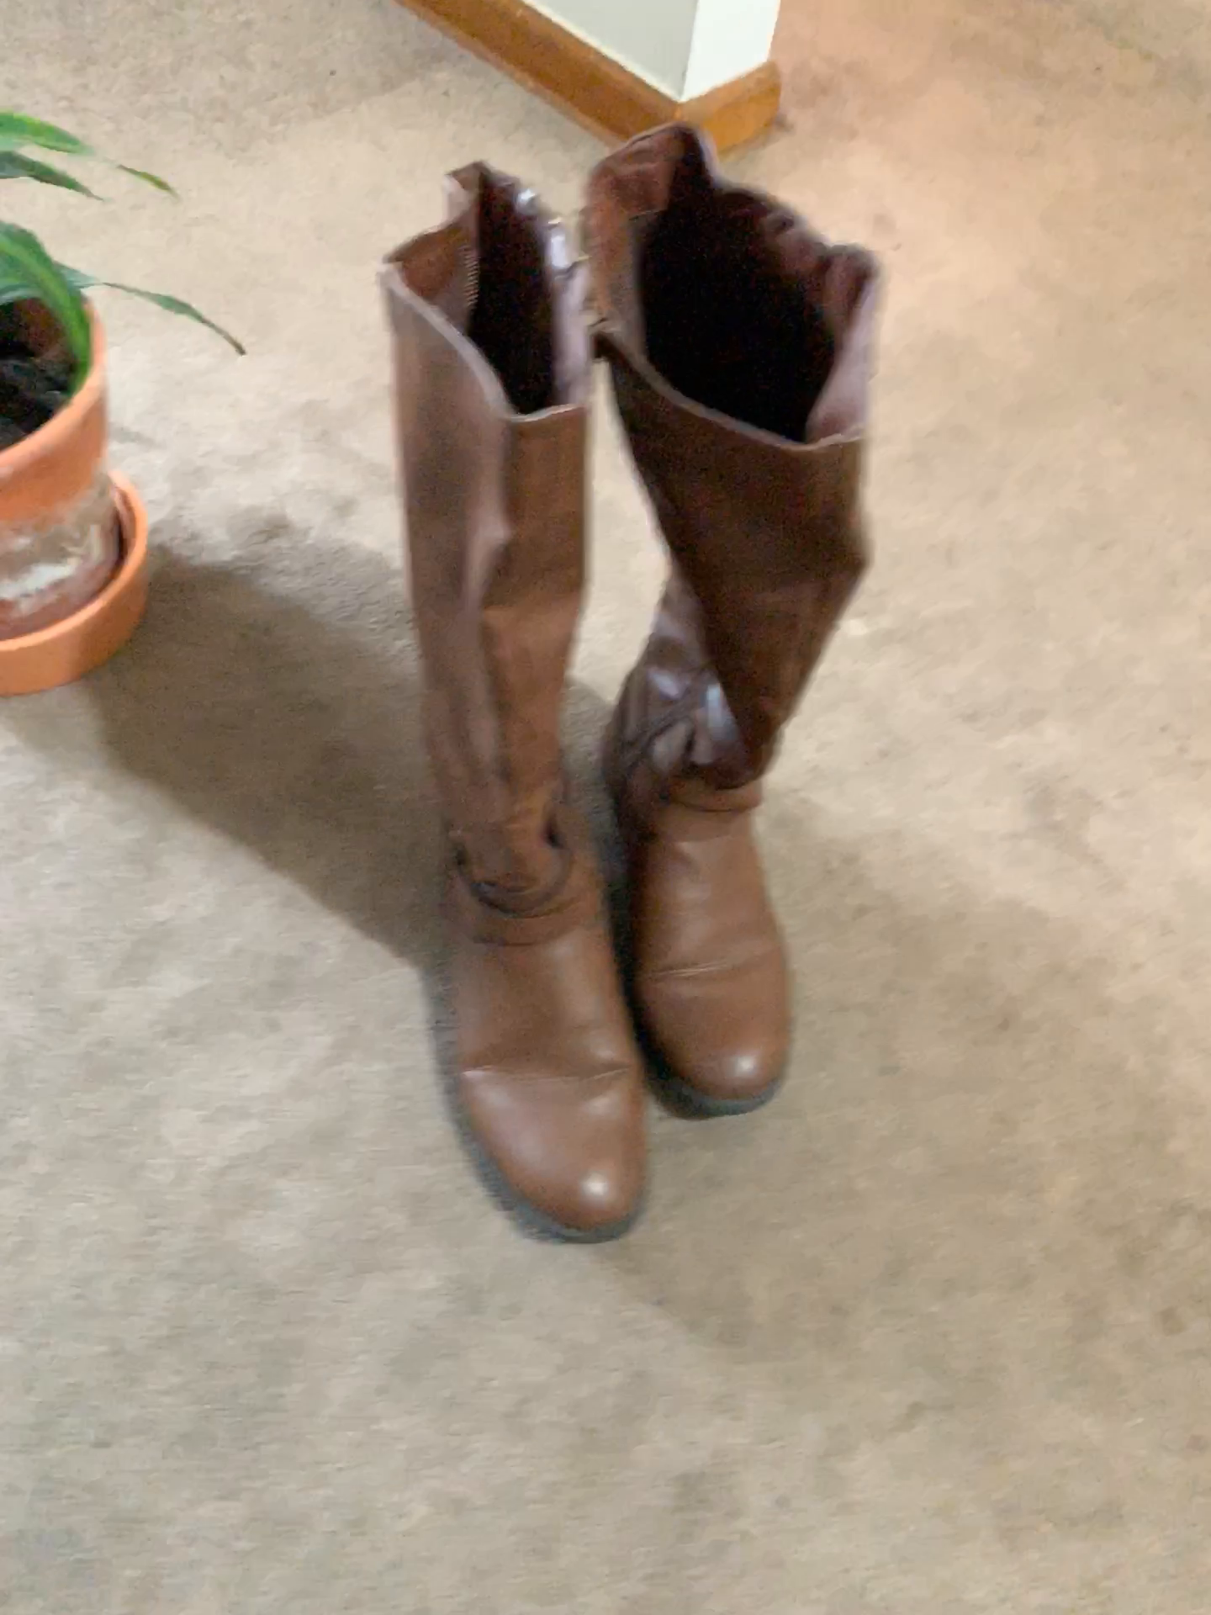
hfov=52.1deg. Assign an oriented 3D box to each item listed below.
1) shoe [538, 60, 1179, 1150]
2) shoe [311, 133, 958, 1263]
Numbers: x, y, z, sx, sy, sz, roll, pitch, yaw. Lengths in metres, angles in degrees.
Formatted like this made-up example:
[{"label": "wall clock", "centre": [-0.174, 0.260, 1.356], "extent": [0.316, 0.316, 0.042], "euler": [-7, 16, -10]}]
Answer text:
[{"label": "shoe", "centre": [0.052, -0.049, 0.545], "extent": [0.120, 0.397, 0.272], "euler": [-4, 58, -8]}, {"label": "shoe", "centre": [-0.022, -0.007, 0.487], "extent": [0.110, 0.367, 0.262], "euler": [-10, 59, -12]}]
